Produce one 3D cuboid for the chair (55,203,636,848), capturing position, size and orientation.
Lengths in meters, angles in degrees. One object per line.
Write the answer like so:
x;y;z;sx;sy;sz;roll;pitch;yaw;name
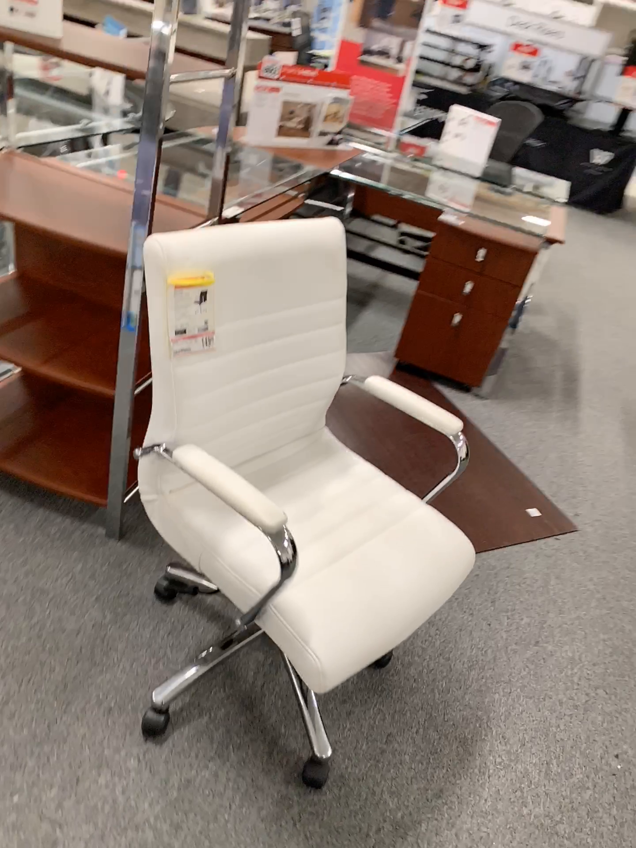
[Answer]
-0.035;0.160;1.243;0.682;0.905;0.621;37;39;30;chair
